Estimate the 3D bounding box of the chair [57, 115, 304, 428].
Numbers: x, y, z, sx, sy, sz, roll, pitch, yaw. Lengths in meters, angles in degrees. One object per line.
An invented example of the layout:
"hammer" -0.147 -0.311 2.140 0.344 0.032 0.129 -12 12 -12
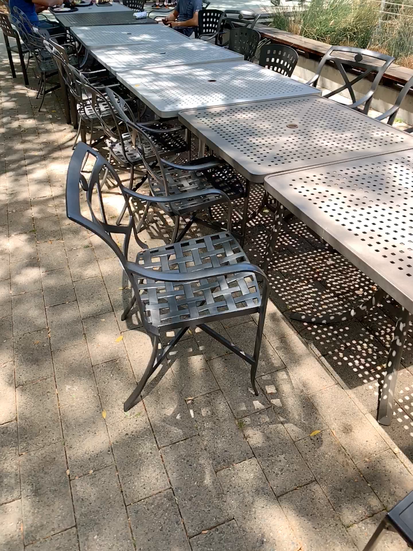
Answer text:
"chair" -0.104 -0.019 1.547 0.610 0.884 0.634 -7 39 -8
